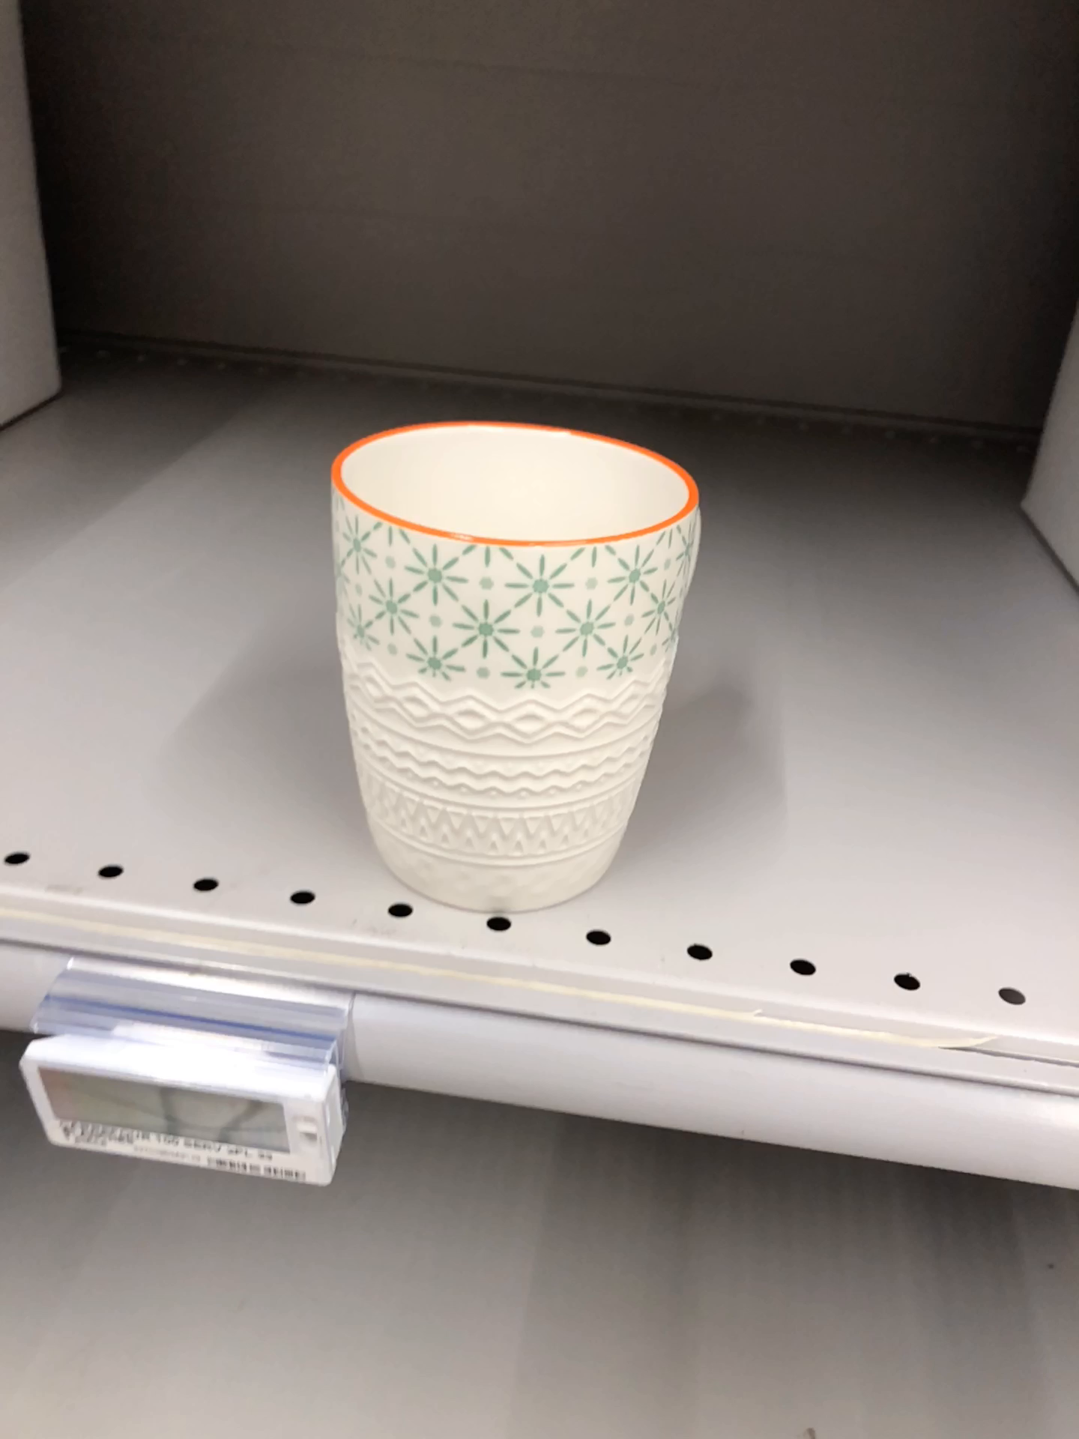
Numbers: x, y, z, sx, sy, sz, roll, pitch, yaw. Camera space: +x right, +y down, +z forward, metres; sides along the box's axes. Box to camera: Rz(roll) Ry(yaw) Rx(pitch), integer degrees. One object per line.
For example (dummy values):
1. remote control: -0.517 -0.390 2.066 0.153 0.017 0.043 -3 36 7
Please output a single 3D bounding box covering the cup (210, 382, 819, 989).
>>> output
1. cup: -0.002 -0.020 0.309 0.092 0.100 0.118 19 33 32
